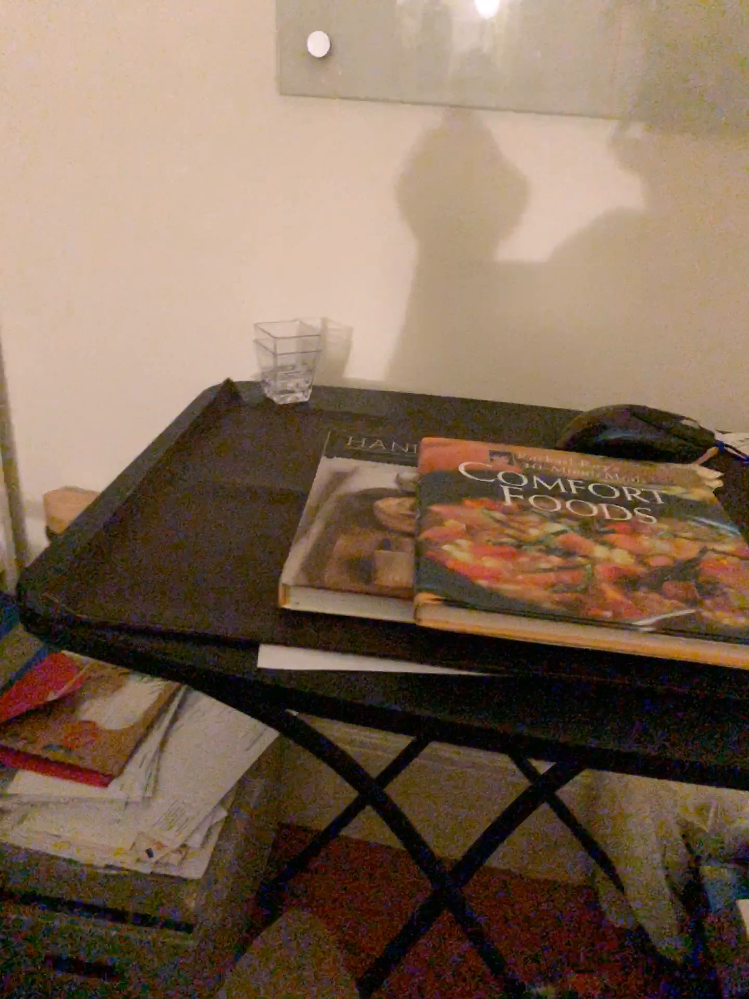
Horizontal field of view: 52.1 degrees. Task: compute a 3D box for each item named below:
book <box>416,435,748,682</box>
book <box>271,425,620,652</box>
[{"bbox_3d":[0.126,0.021,0.461,0.200,0.020,0.211,6,27,0],"label":"book"},{"bbox_3d":[0.043,0.011,0.497,0.180,0.020,0.221,7,27,1],"label":"book"}]
